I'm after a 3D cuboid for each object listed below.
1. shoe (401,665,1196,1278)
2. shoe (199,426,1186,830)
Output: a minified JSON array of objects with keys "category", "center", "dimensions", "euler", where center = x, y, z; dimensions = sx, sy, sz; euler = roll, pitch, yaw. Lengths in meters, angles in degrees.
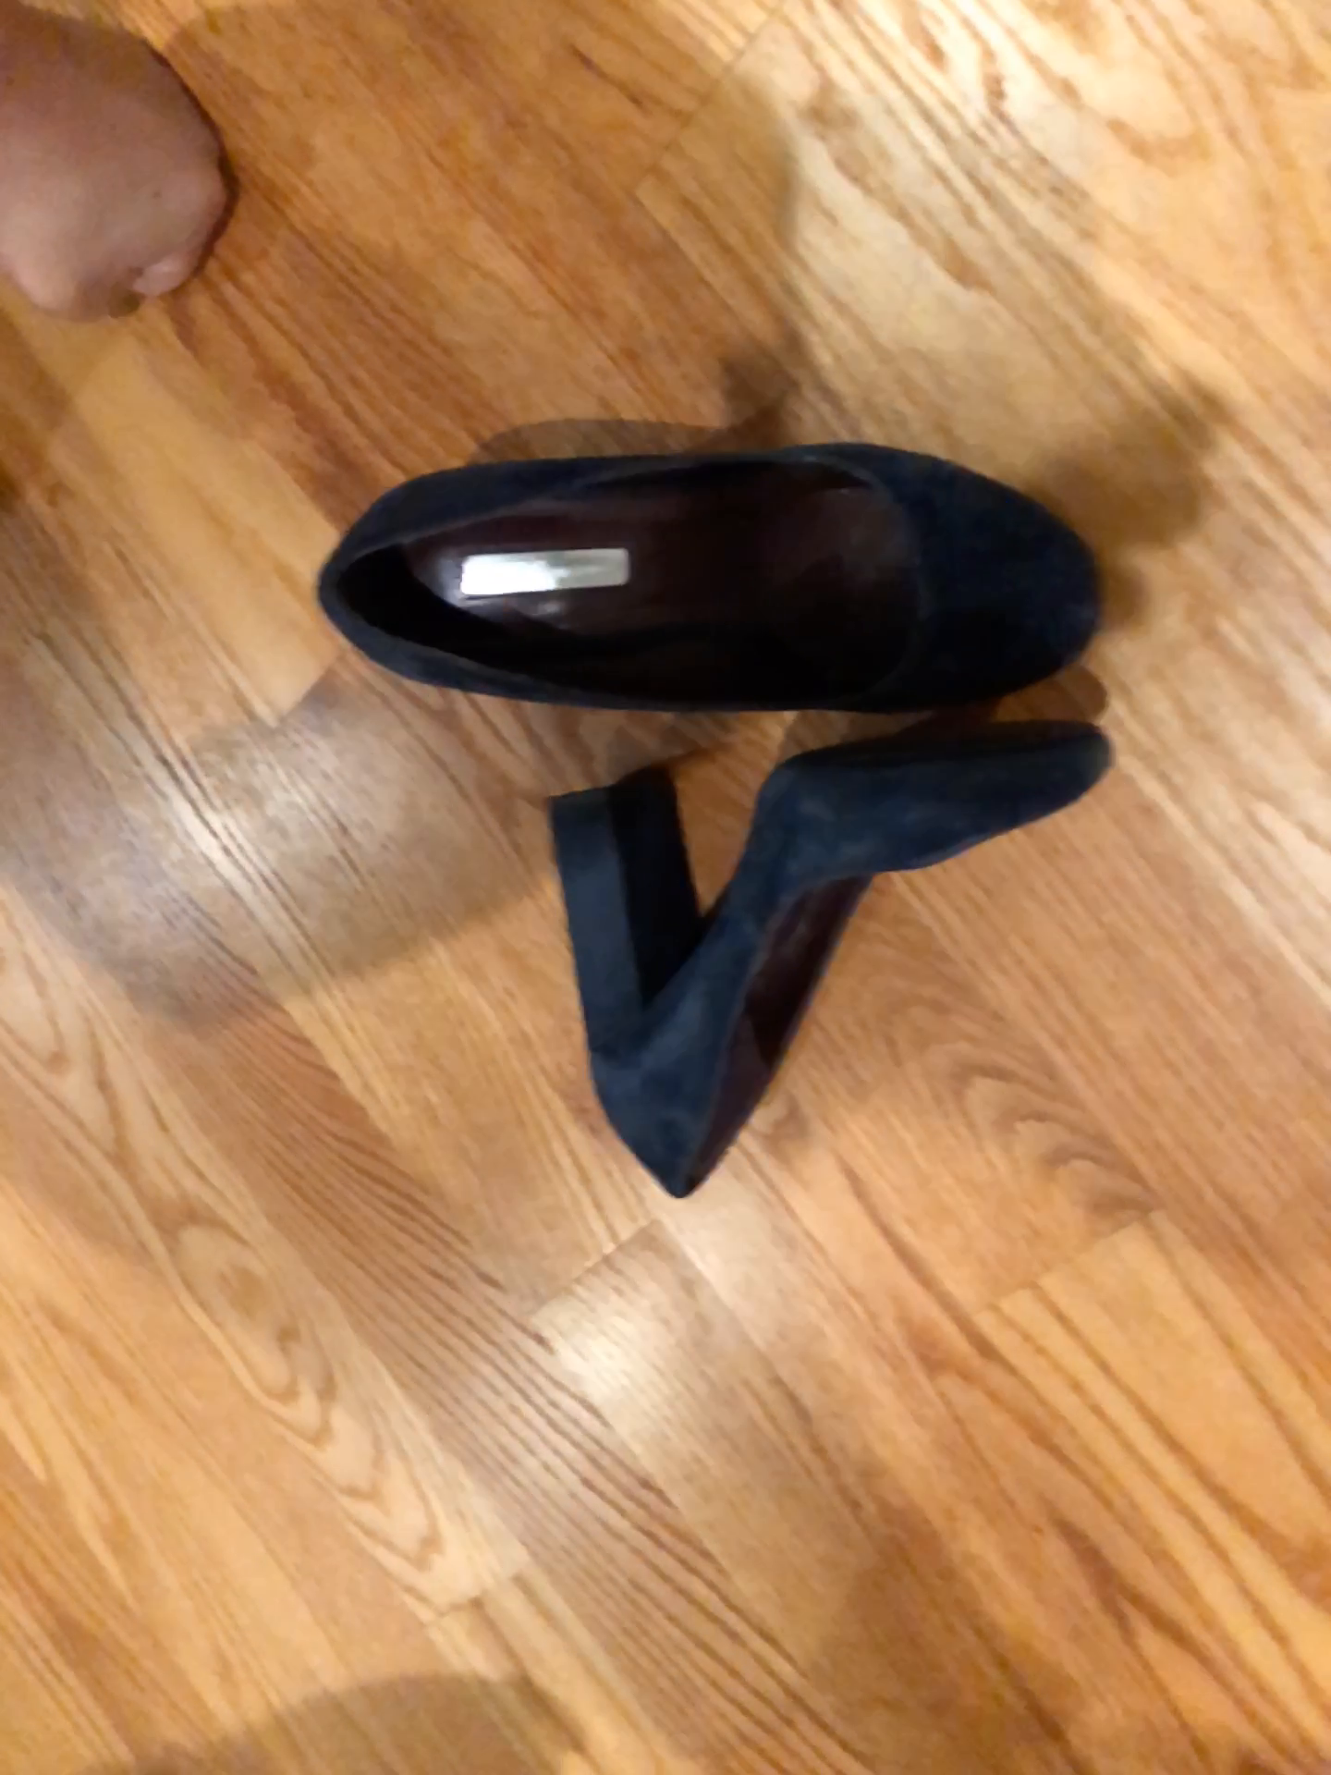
[{"category":"shoe","center":[0.042,0.031,0.454],"dimensions":[0.204,0.080,0.152],"euler":[-9,101,26]},{"category":"shoe","center":[0.015,-0.079,0.402],"dimensions":[0.226,0.146,0.080],"euler":[5,107,23]}]
